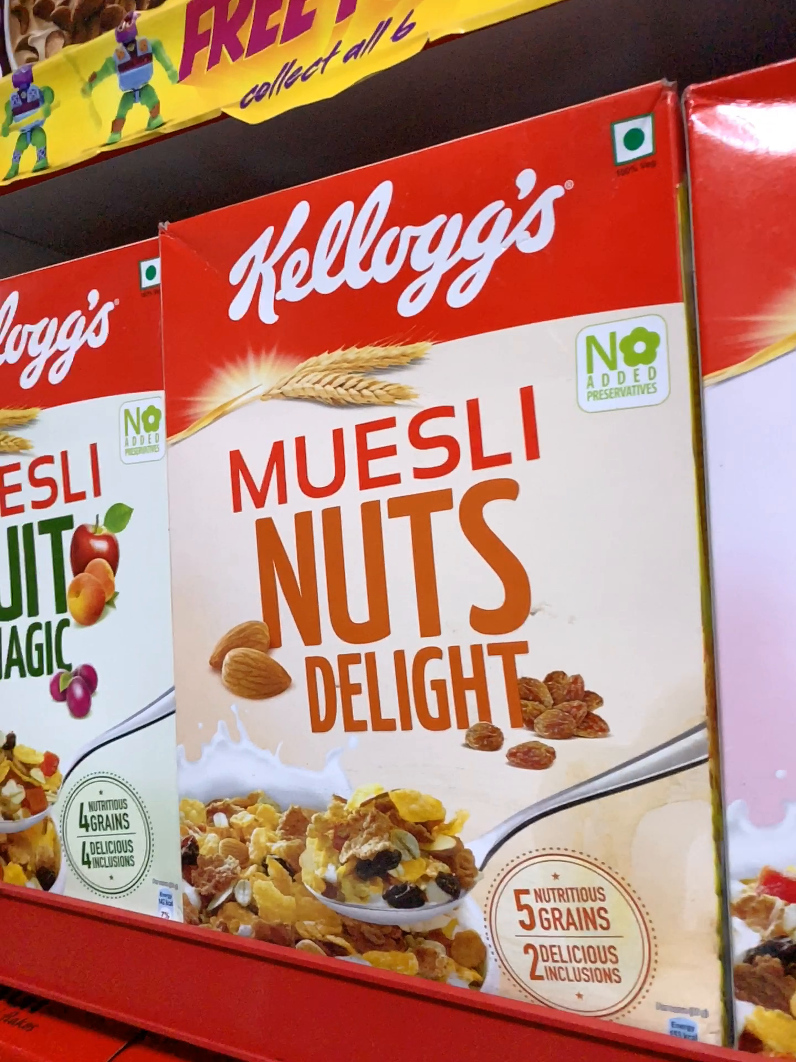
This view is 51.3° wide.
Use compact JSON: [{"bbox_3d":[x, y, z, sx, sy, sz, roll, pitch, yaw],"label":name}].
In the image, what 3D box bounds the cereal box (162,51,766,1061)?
[{"bbox_3d":[0.014,0.012,0.261,0.170,0.250,0.060,-3,-2,27],"label":"cereal box"}]
